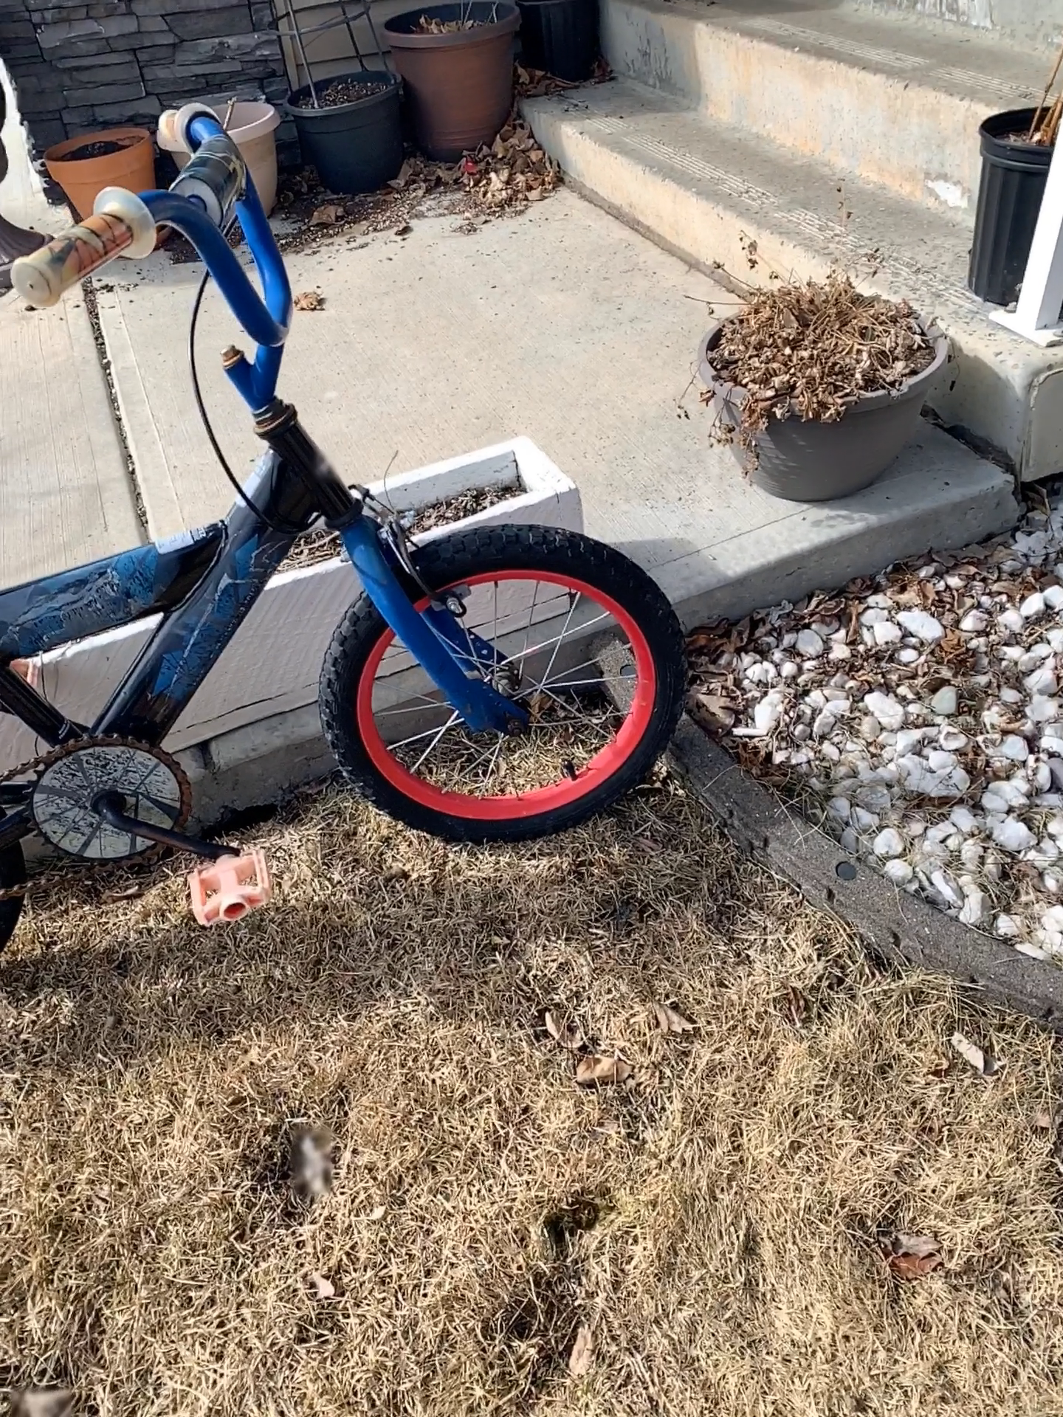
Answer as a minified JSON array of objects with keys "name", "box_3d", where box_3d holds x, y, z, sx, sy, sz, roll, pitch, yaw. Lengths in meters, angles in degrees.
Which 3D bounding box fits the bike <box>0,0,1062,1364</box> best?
[{"name":"bike","box_3d":[-0.345,-0.061,0.834,1.023,0.728,0.538,-16,42,-4]}]
